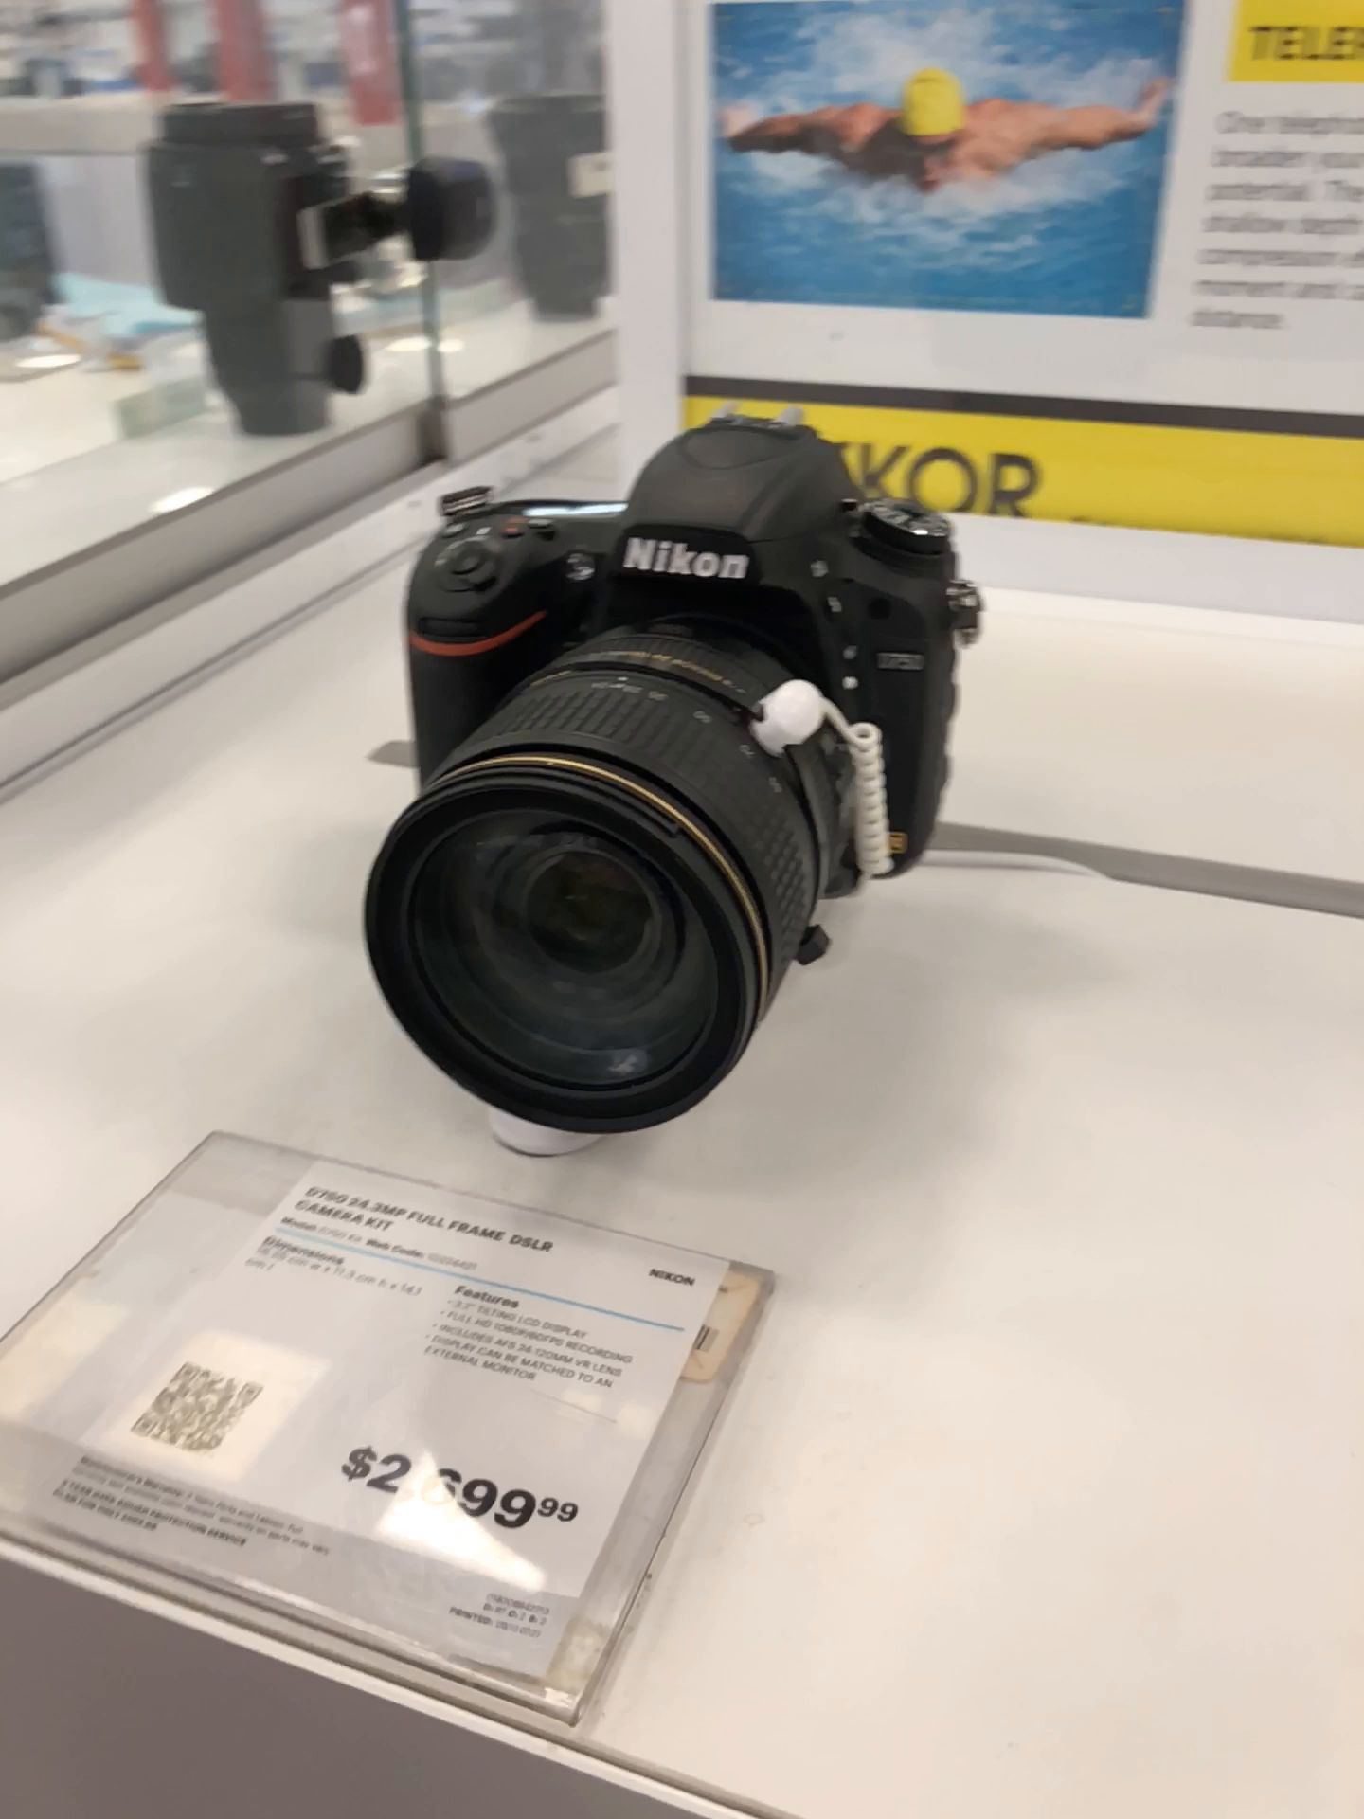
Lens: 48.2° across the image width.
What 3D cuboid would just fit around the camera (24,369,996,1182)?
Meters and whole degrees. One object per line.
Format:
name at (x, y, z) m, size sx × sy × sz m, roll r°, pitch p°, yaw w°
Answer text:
camera at (-0.020, -0.048, 0.351) m, size 0.150 × 0.110 × 0.171 m, roll 8°, pitch 31°, yaw 16°
